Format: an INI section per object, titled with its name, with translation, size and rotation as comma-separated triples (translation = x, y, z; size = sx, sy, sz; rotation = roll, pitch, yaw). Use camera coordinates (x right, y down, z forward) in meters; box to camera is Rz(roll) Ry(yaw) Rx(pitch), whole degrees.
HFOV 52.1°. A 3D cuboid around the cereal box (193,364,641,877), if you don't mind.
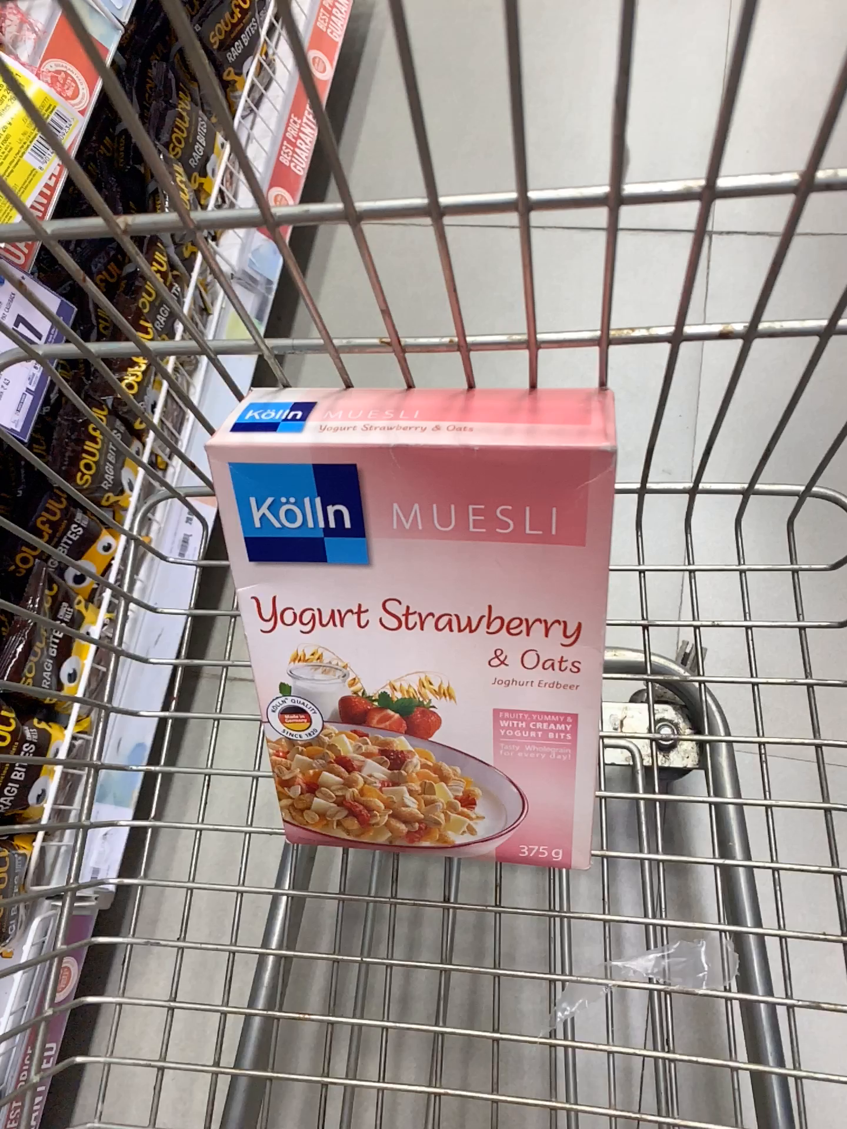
[cereal box]
translation = 0.005, 0.031, 0.365
size = 0.150, 0.220, 0.050
rotation = 2, 32, 10
